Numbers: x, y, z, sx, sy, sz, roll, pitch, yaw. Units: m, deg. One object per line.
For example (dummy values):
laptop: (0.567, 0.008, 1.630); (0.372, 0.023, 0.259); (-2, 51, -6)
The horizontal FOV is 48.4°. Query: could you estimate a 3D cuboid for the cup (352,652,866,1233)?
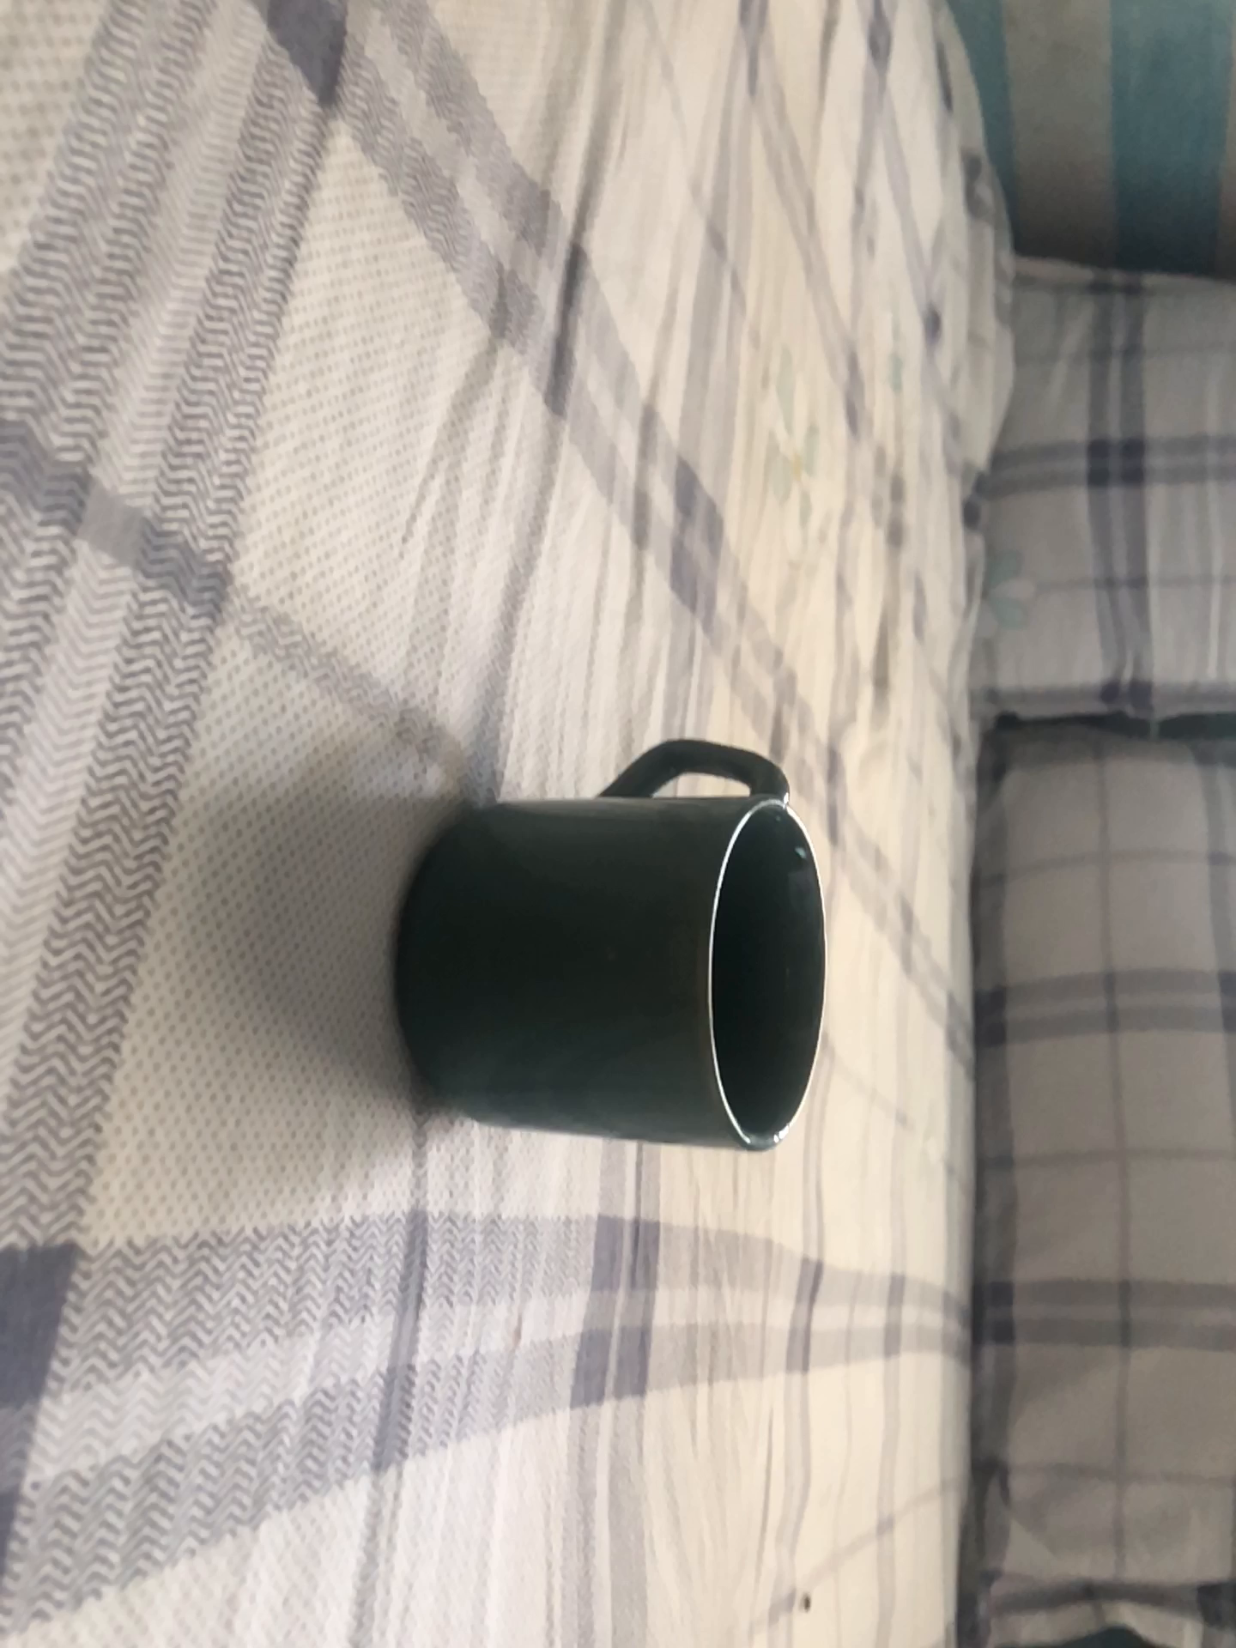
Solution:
cup: (0.006, 0.017, 0.251); (0.080, 0.060, 0.070); (-56, 140, -57)
